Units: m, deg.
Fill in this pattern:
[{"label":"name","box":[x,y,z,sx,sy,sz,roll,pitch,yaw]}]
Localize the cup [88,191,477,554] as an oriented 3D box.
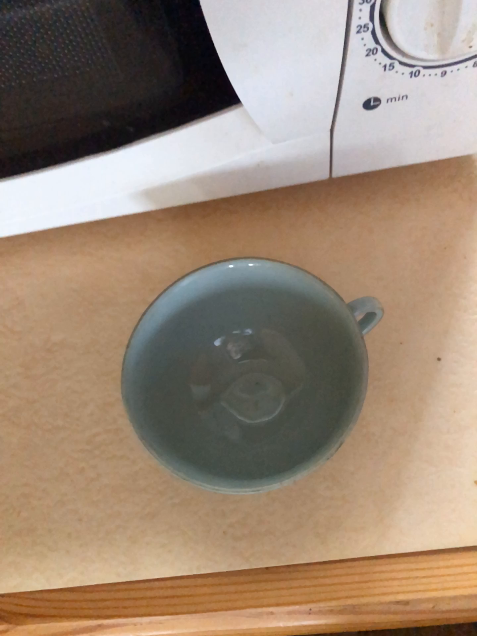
[{"label":"cup","box":[0.014,0.018,0.194,0.100,0.040,0.080,-35,67,-7]}]
